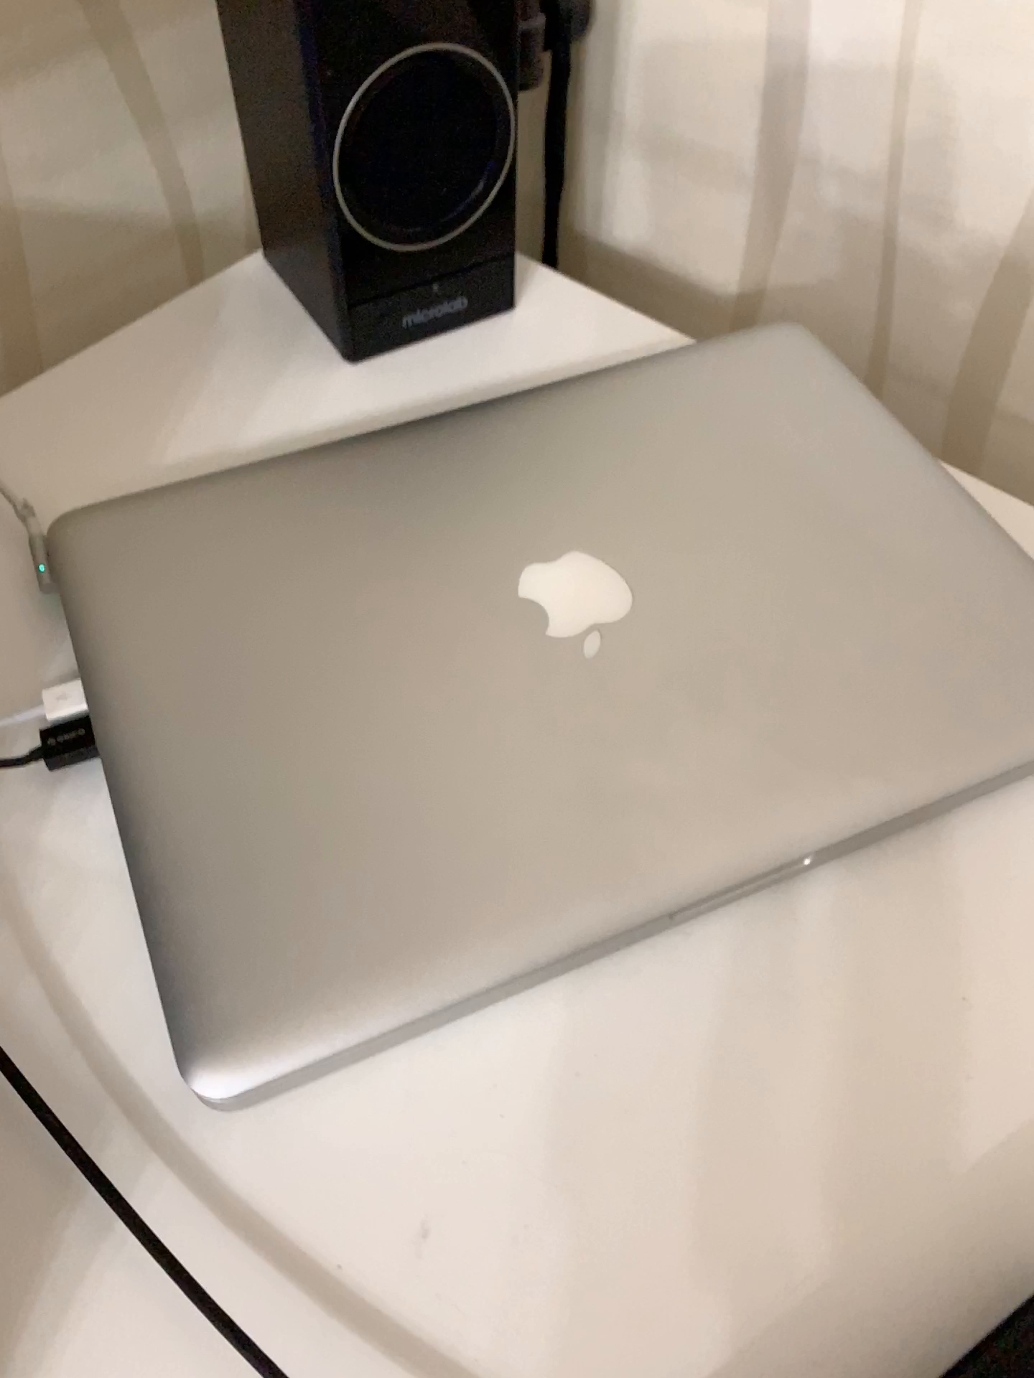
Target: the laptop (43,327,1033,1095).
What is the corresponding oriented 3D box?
[{"bbox_3d":[0.016,-0.024,0.365,0.305,0.011,0.208,-19,58,-14],"label":"laptop"}]
